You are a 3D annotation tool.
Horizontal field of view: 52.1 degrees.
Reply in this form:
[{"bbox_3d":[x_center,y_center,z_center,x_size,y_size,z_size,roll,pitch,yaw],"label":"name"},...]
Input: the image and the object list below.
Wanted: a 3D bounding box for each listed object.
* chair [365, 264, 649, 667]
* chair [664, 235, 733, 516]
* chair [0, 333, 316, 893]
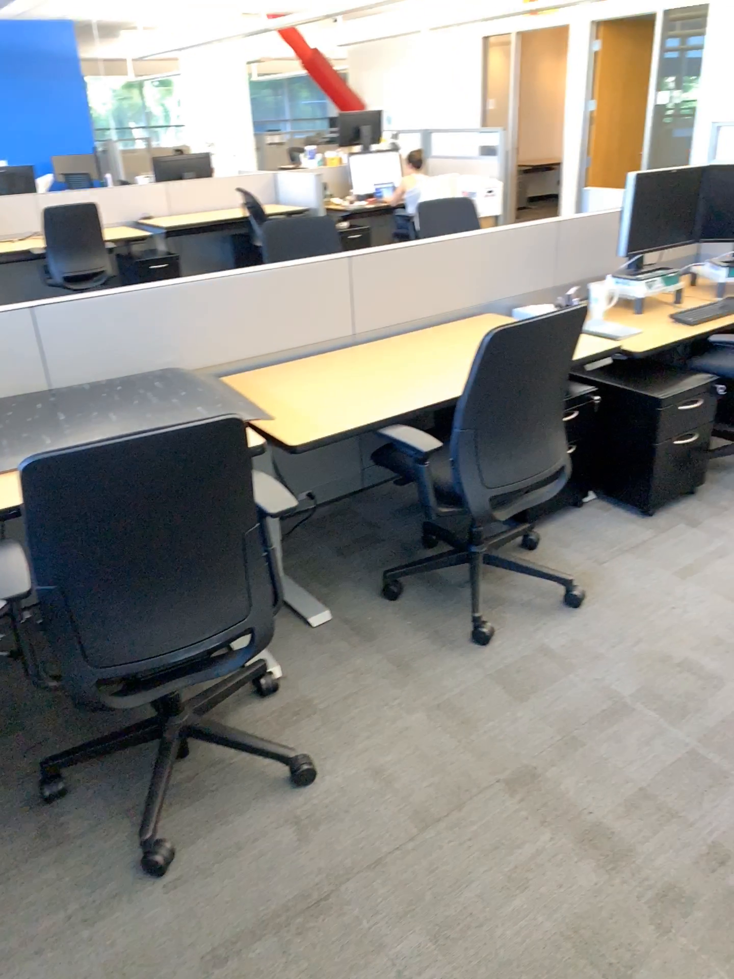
[{"bbox_3d":[0.394,-0.109,2.305,0.521,0.994,0.583,-20,31,-31],"label":"chair"},{"bbox_3d":[1.680,-0.497,3.156,0.541,0.994,0.462,-19,31,-30],"label":"chair"},{"bbox_3d":[-0.533,0.237,1.747,0.560,0.994,0.603,-15,29,-24],"label":"chair"}]
